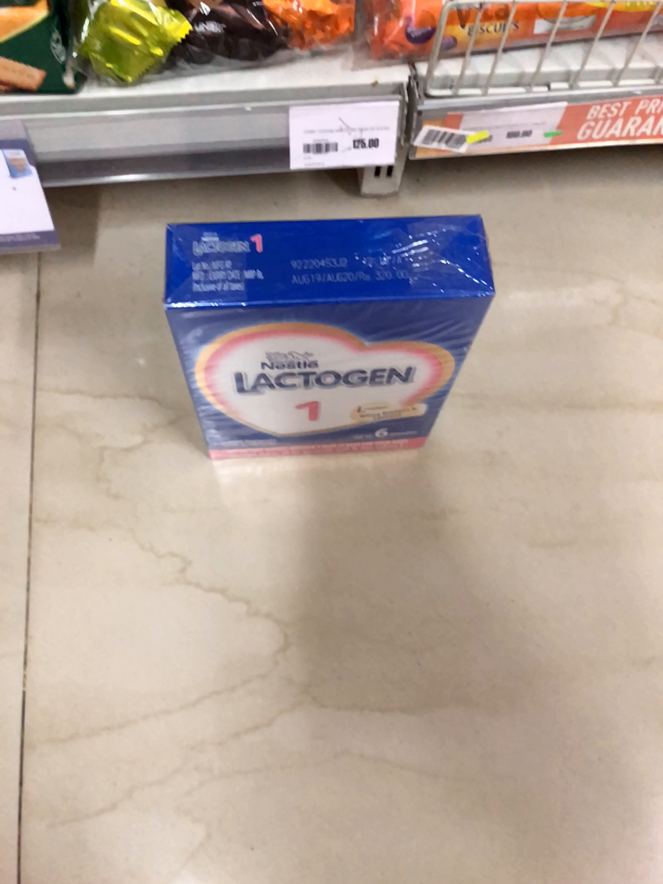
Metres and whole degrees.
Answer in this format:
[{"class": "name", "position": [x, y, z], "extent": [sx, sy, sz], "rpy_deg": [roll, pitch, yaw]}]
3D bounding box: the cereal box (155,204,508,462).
[{"class": "cereal box", "position": [-0.006, -0.048, 0.408], "extent": [0.150, 0.189, 0.050], "rpy_deg": [-3, 70, -5]}]
